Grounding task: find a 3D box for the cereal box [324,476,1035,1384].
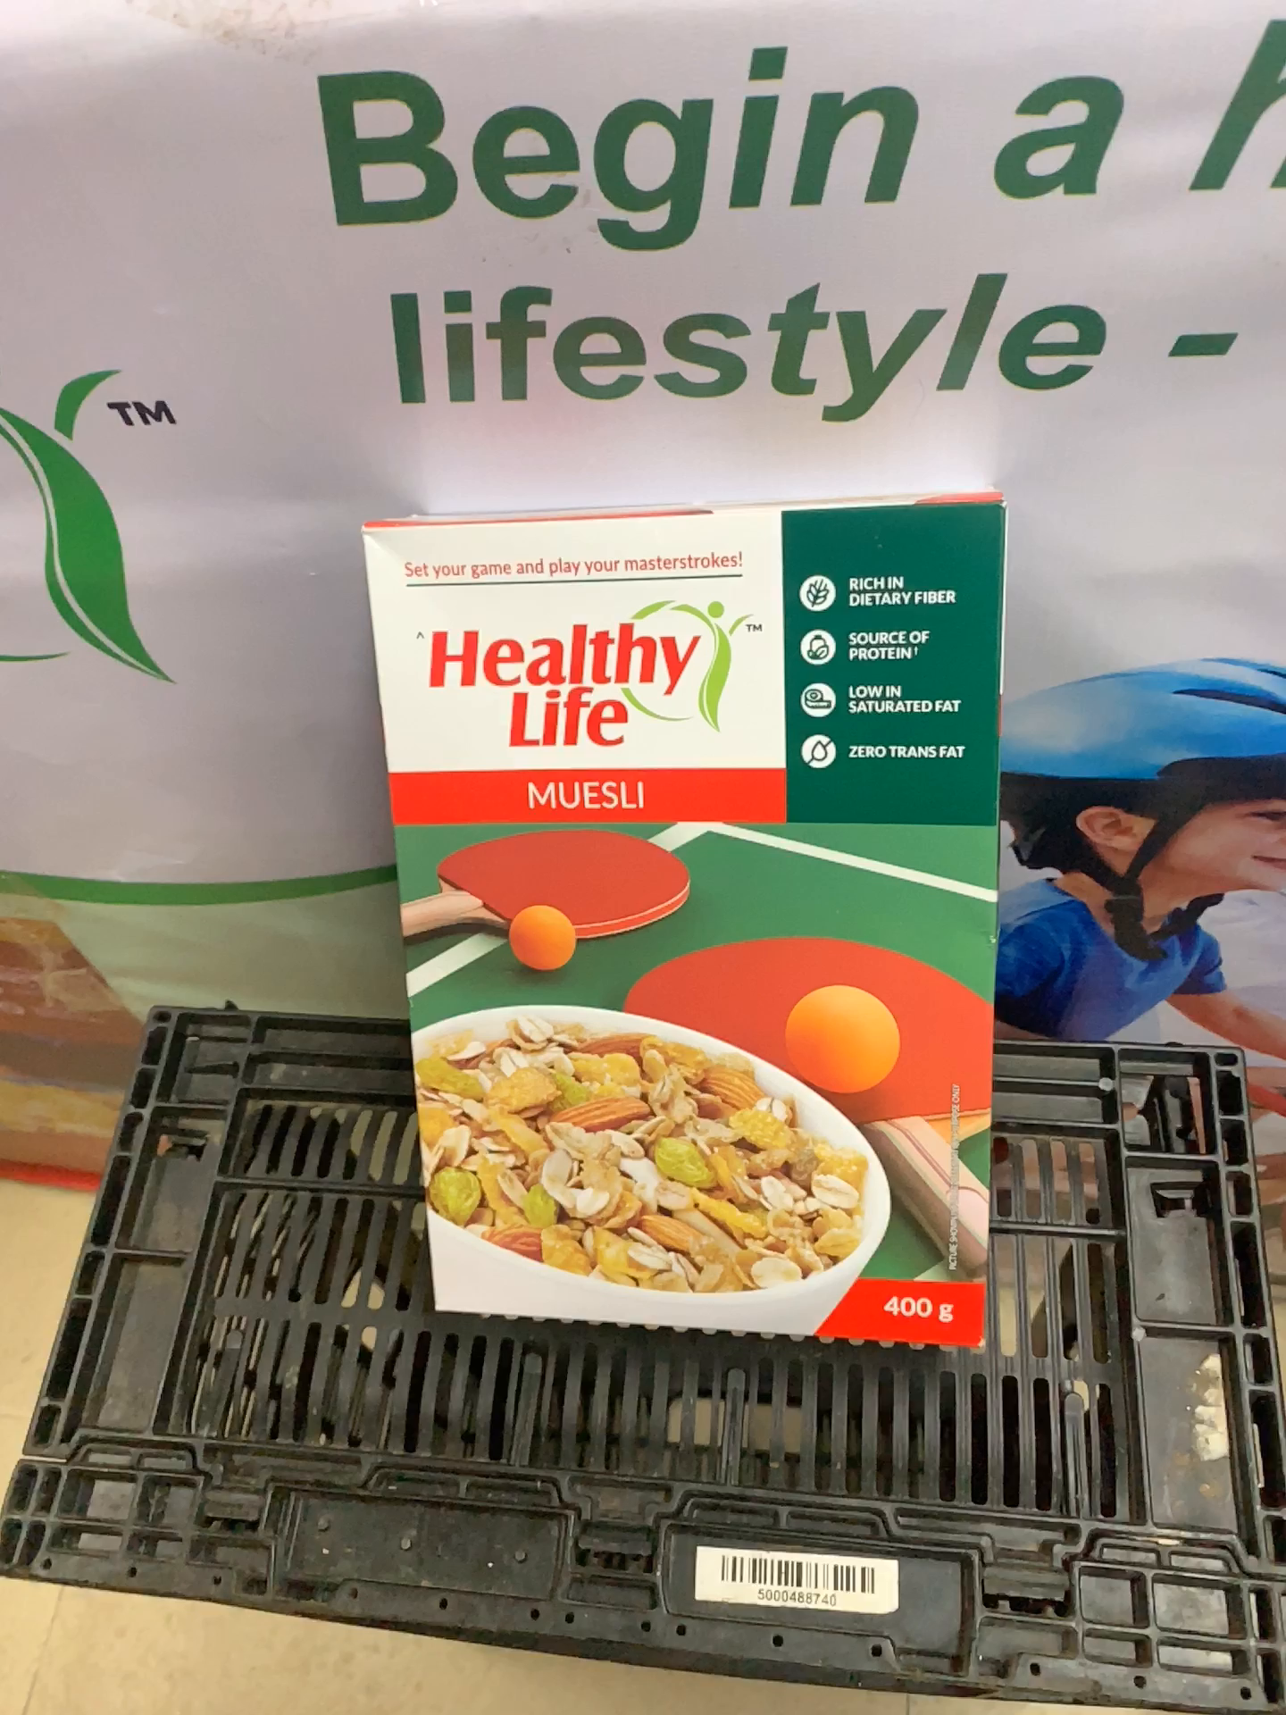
[{"bbox_3d":[0.017,0.017,0.376,0.170,0.230,0.080,0,13,11],"label":"cereal box"}]
